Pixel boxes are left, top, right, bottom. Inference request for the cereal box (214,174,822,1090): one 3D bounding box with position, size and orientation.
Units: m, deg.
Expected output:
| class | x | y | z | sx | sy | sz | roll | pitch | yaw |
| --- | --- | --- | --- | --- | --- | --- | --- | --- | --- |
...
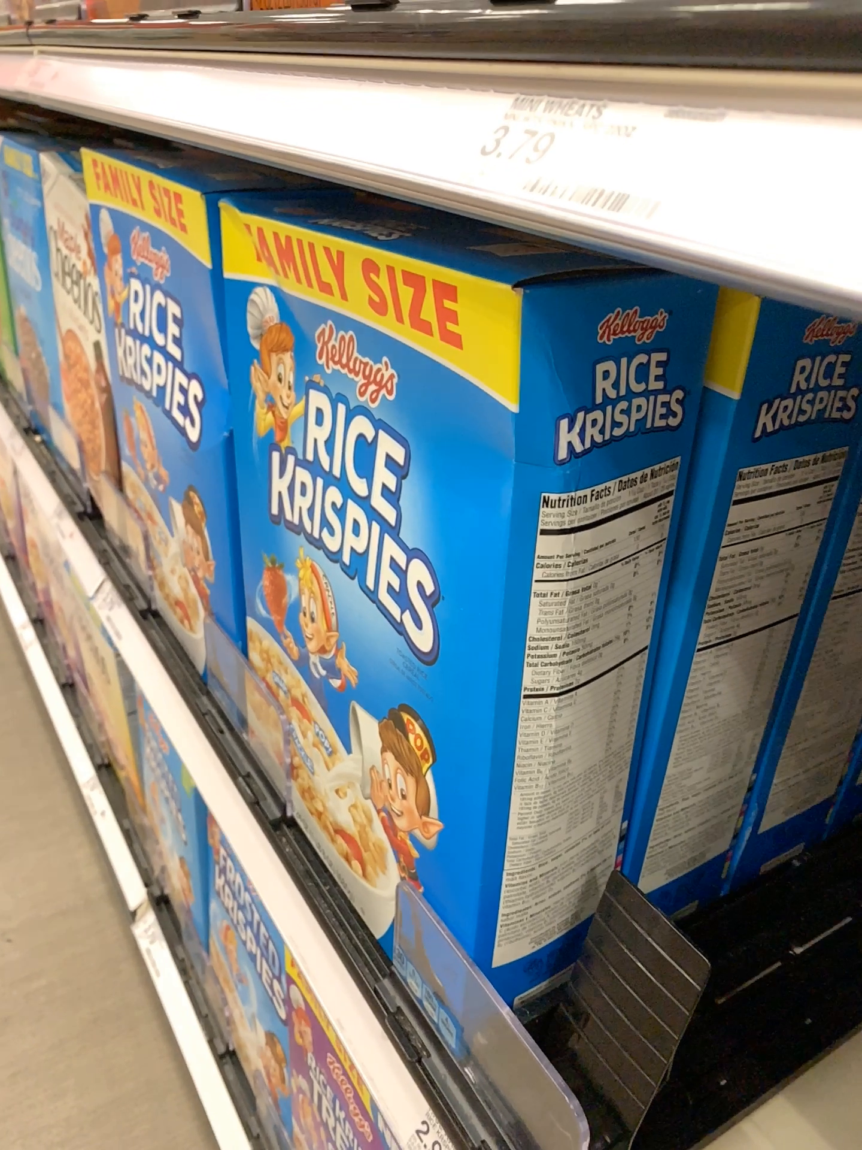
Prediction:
| class | x | y | z | sx | sy | sz | roll | pitch | yaw |
| --- | --- | --- | --- | --- | --- | --- | --- | --- | --- |
| cereal box | 0.003 | 0.011 | 0.429 | 0.100 | 0.348 | 0.251 | -16 | 34 | -32 |
